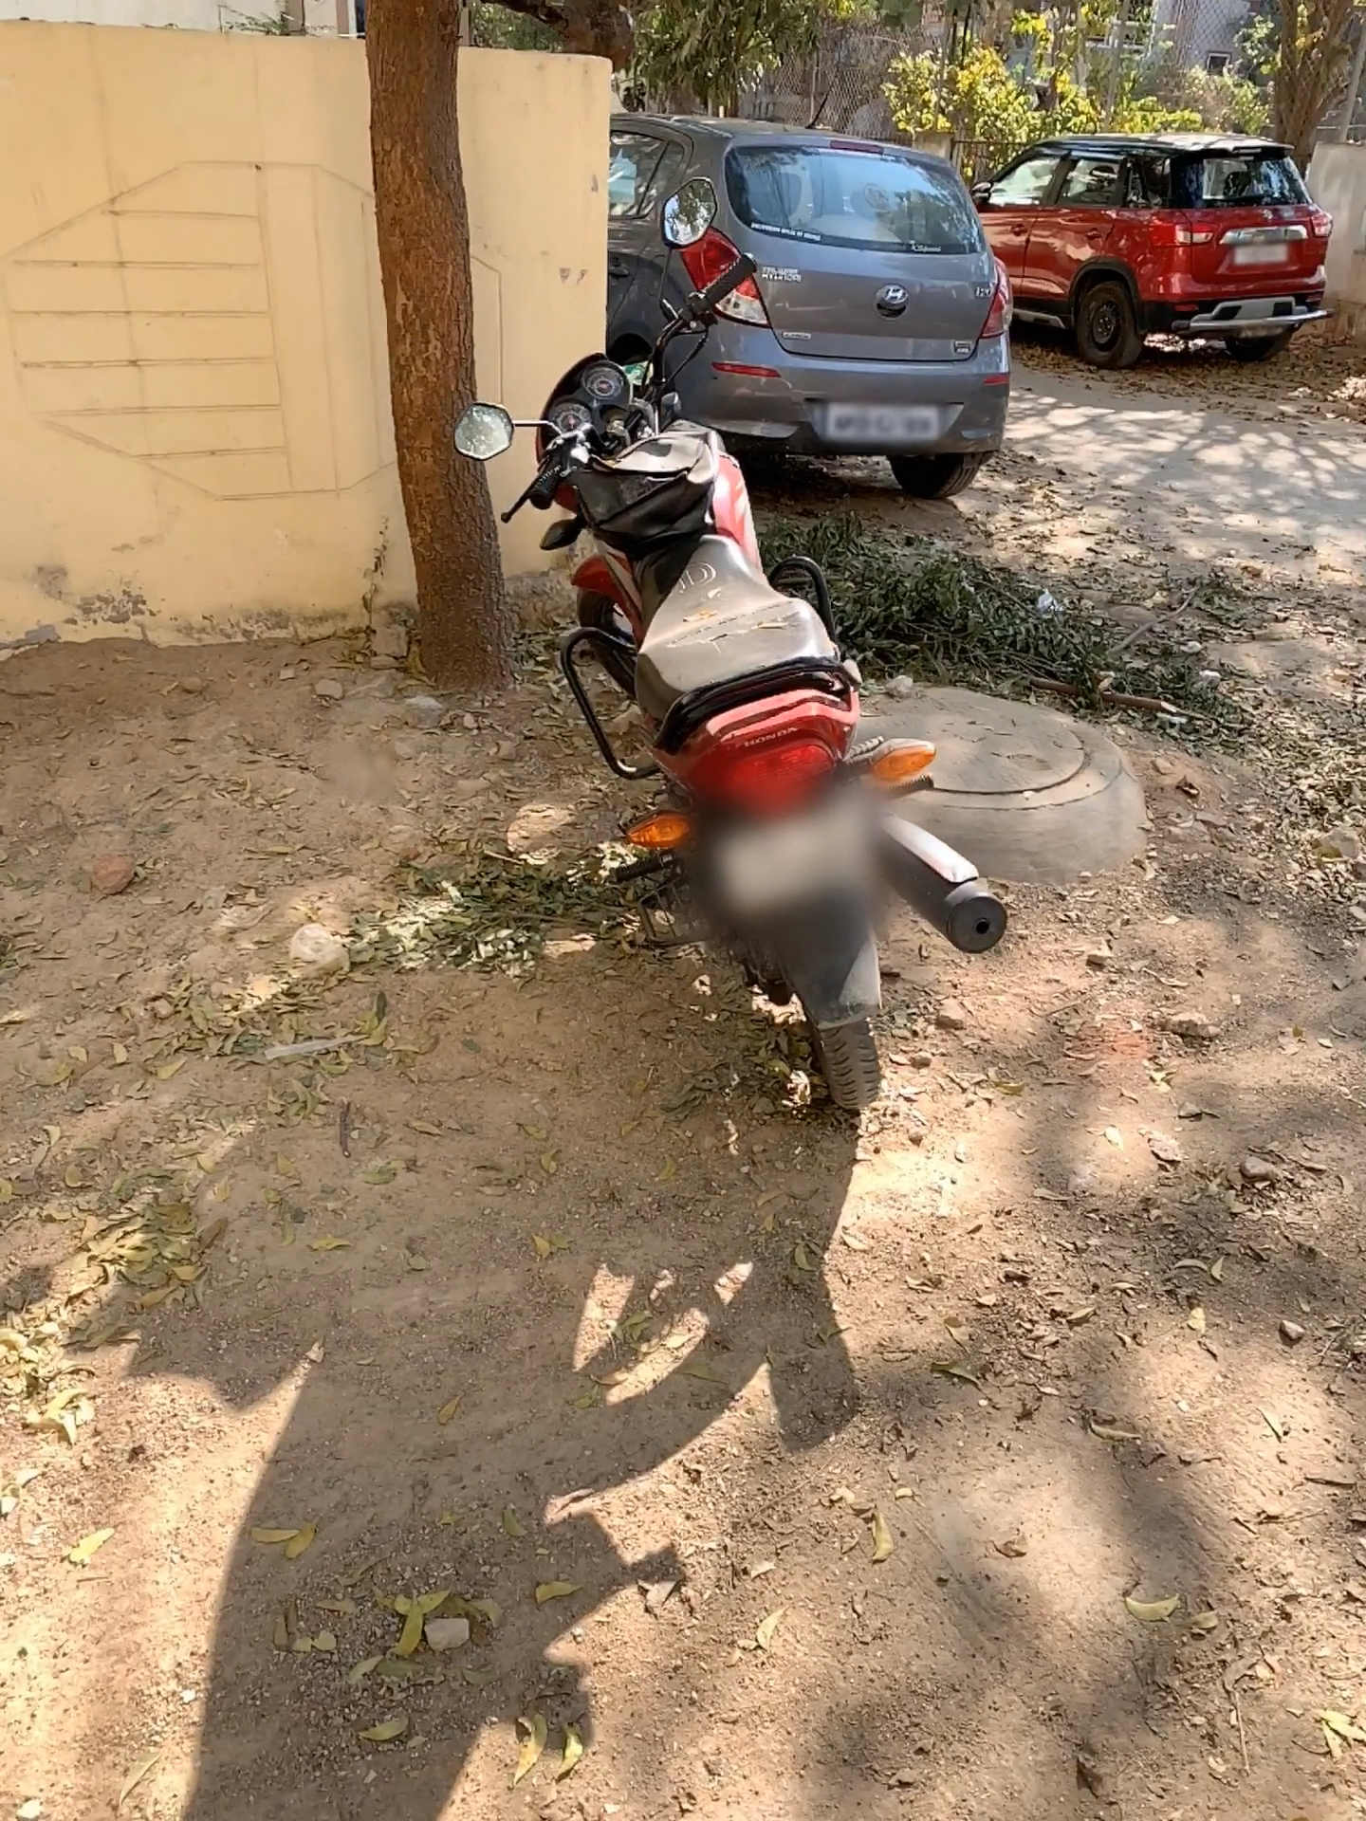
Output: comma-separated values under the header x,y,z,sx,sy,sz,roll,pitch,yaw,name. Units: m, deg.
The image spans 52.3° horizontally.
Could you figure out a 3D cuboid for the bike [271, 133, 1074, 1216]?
x,y,z,sx,sy,sz,roll,pitch,yaw,name
-0.200,-0.564,2.465,0.776,1.179,1.649,-7,35,-16,bike
